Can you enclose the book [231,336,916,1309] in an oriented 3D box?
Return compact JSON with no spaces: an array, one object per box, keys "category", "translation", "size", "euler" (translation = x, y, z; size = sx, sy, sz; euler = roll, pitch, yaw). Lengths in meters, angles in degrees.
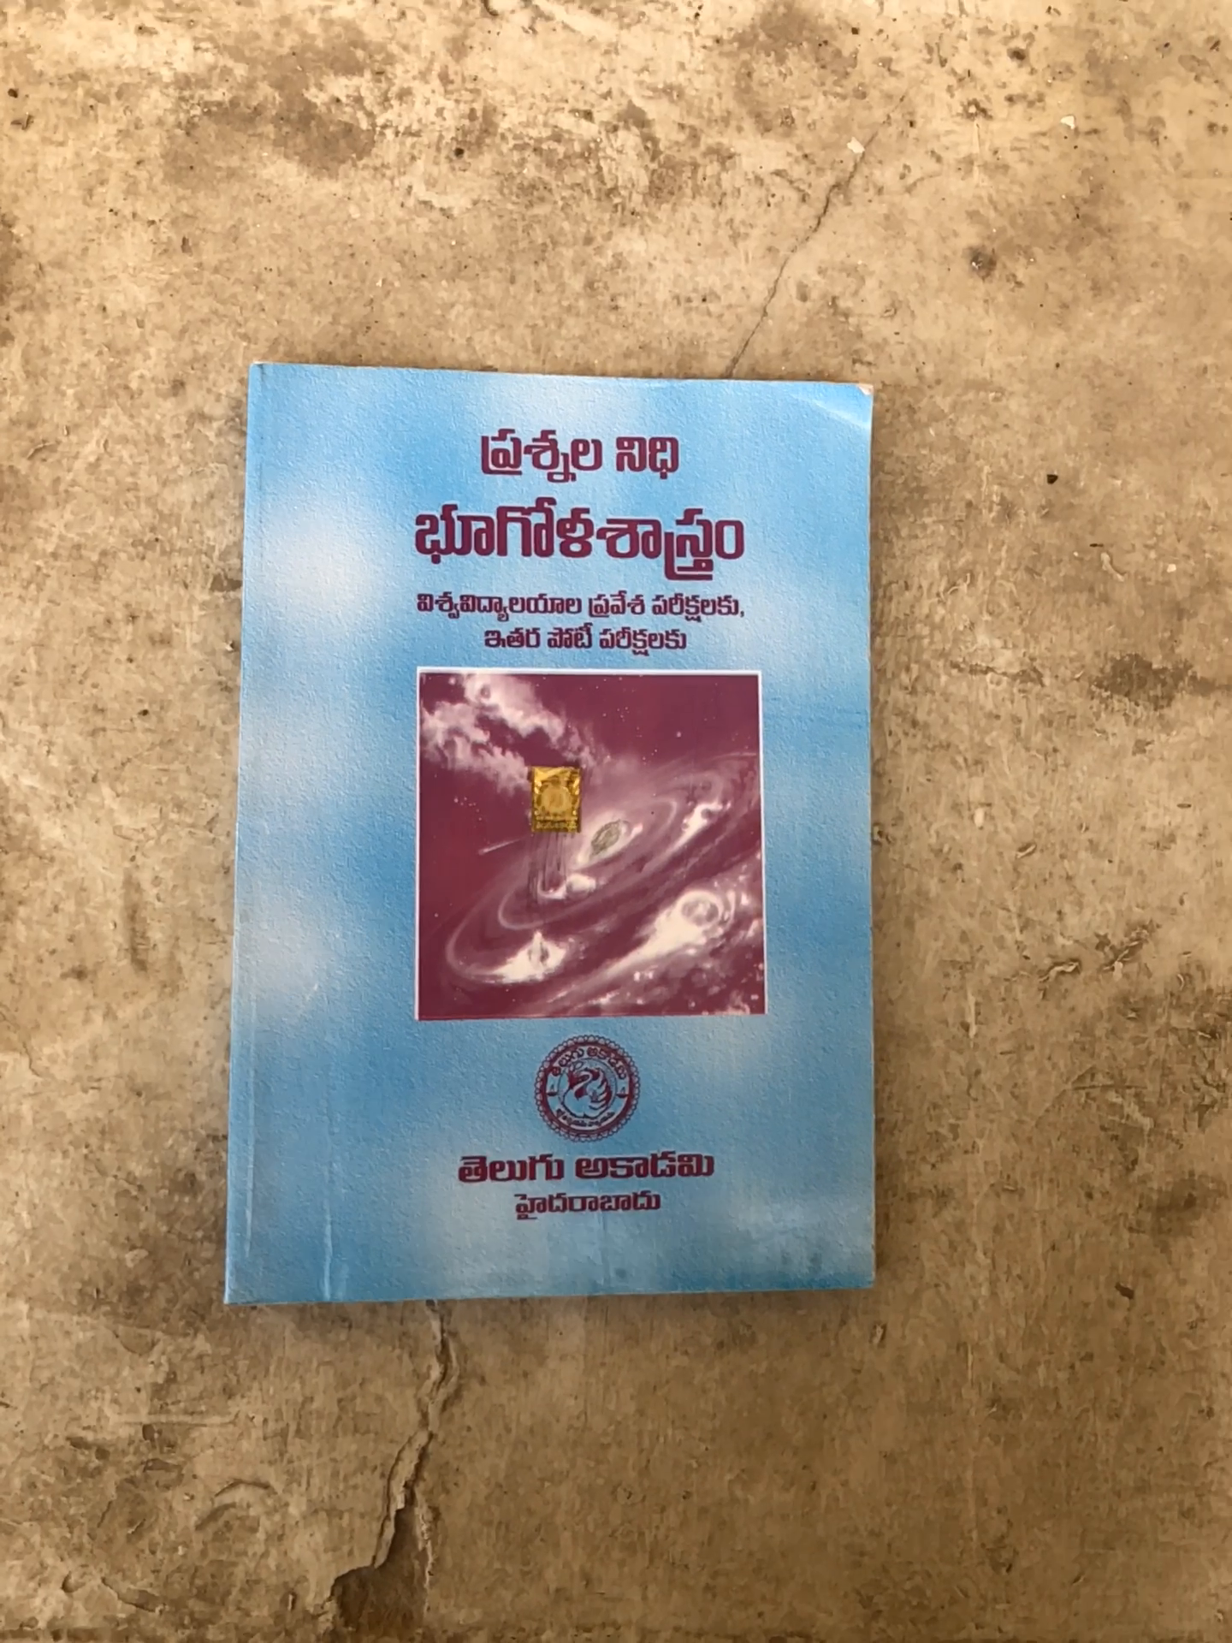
[{"category":"book","translation":[-0.013,-0.002,0.408],"size":[0.190,0.040,0.270],"euler":[0,86,-6]}]
